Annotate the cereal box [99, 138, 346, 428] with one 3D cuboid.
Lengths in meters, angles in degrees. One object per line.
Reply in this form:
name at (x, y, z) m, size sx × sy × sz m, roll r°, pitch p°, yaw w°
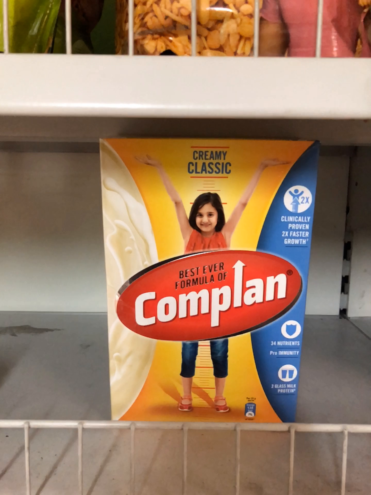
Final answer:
cereal box at (0.022, 0.025, 0.297) m, size 0.150 × 0.199 × 0.050 m, roll 1°, pitch 13°, yaw 2°
